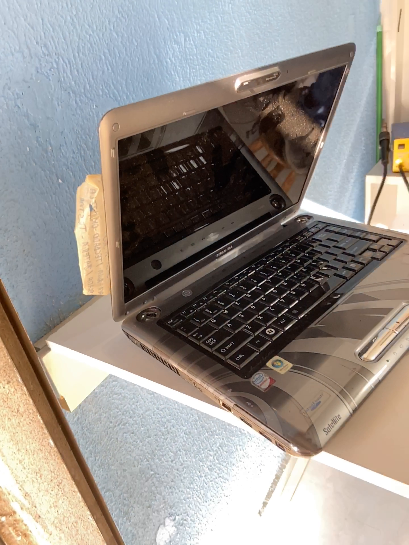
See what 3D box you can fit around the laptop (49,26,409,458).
[{"bbox_3d":[0.099,-0.080,0.436,0.359,0.235,0.259,-31,35,-32],"label":"laptop"}]
